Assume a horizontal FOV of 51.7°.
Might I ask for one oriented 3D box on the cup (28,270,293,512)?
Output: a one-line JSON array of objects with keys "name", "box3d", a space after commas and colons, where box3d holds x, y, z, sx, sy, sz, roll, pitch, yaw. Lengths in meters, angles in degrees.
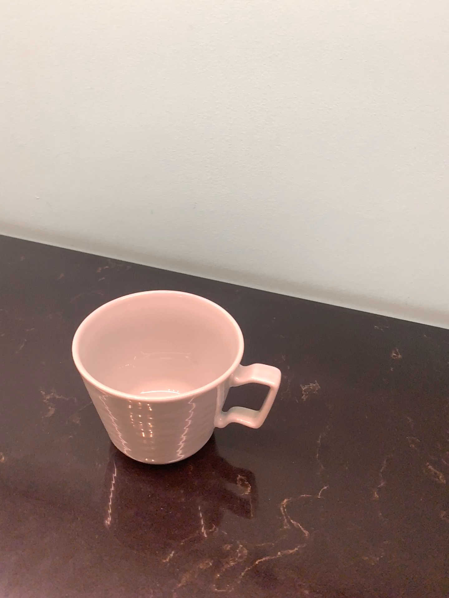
[{"name": "cup", "box3d": [-0.033, 0.053, 0.303, 0.130, 0.080, 0.100, 12, 37, 11]}]
